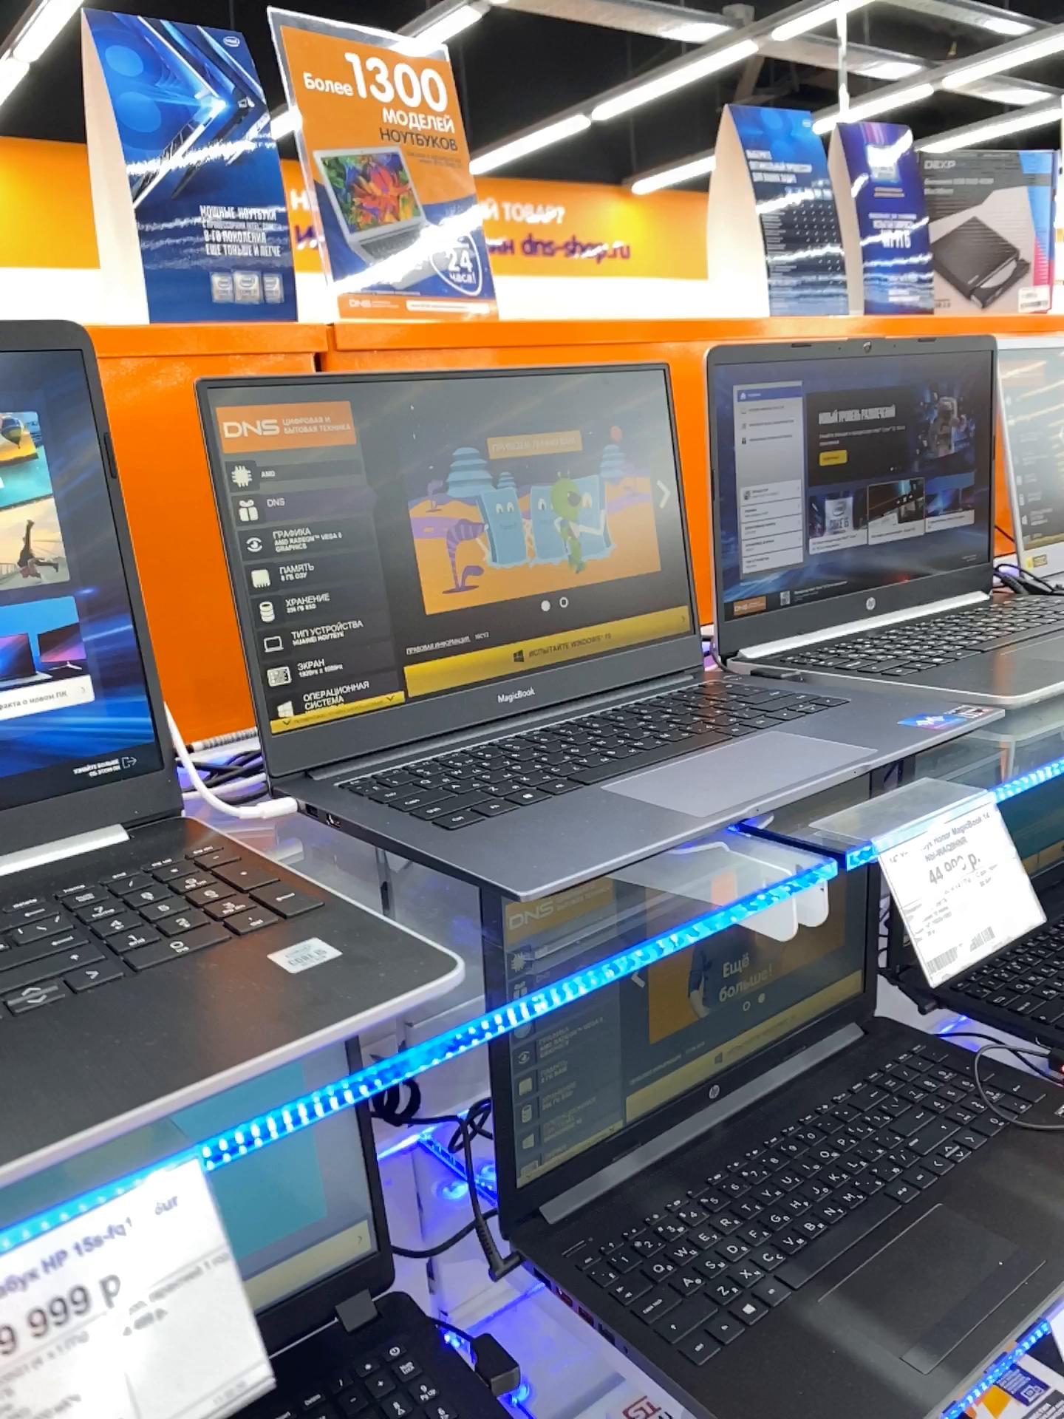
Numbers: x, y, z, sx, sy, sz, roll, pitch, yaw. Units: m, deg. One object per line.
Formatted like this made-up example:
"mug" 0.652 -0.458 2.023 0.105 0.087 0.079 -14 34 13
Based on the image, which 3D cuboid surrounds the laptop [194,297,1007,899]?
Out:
"laptop" 0.043 -0.079 0.555 0.323 0.203 0.238 -14 16 -36
